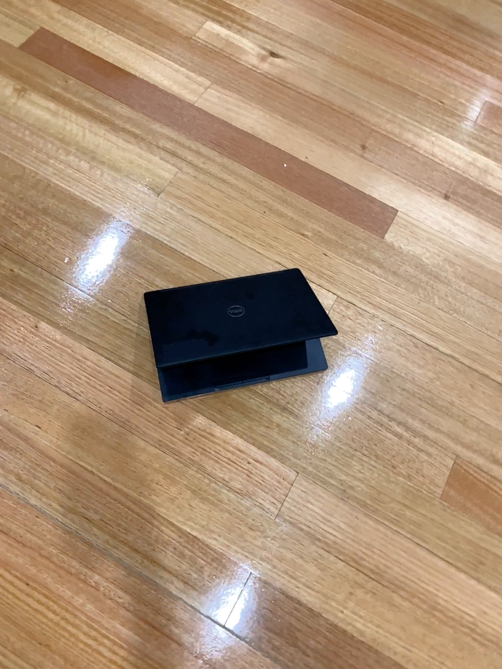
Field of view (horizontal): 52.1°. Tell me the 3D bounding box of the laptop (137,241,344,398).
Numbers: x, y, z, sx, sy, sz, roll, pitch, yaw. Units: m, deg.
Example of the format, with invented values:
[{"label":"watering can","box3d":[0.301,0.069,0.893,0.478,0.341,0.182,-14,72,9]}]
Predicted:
[{"label":"laptop","box3d":[-0.025,-0.028,0.880,0.296,0.110,0.207,-10,67,-11]}]
